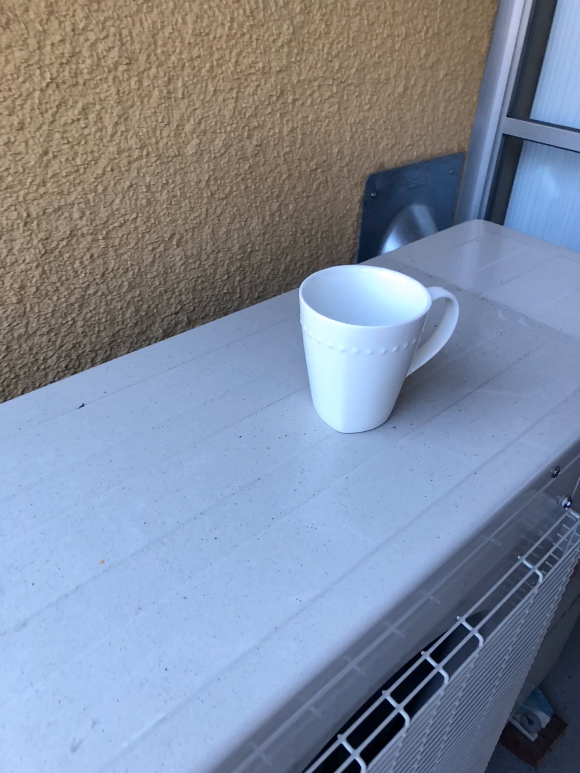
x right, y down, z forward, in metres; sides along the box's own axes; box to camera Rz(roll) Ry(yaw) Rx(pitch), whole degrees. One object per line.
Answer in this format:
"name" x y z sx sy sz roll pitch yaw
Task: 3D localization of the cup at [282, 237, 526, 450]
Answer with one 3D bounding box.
"cup" 0.082 -0.039 0.492 0.140 0.100 0.100 -17 38 -28
